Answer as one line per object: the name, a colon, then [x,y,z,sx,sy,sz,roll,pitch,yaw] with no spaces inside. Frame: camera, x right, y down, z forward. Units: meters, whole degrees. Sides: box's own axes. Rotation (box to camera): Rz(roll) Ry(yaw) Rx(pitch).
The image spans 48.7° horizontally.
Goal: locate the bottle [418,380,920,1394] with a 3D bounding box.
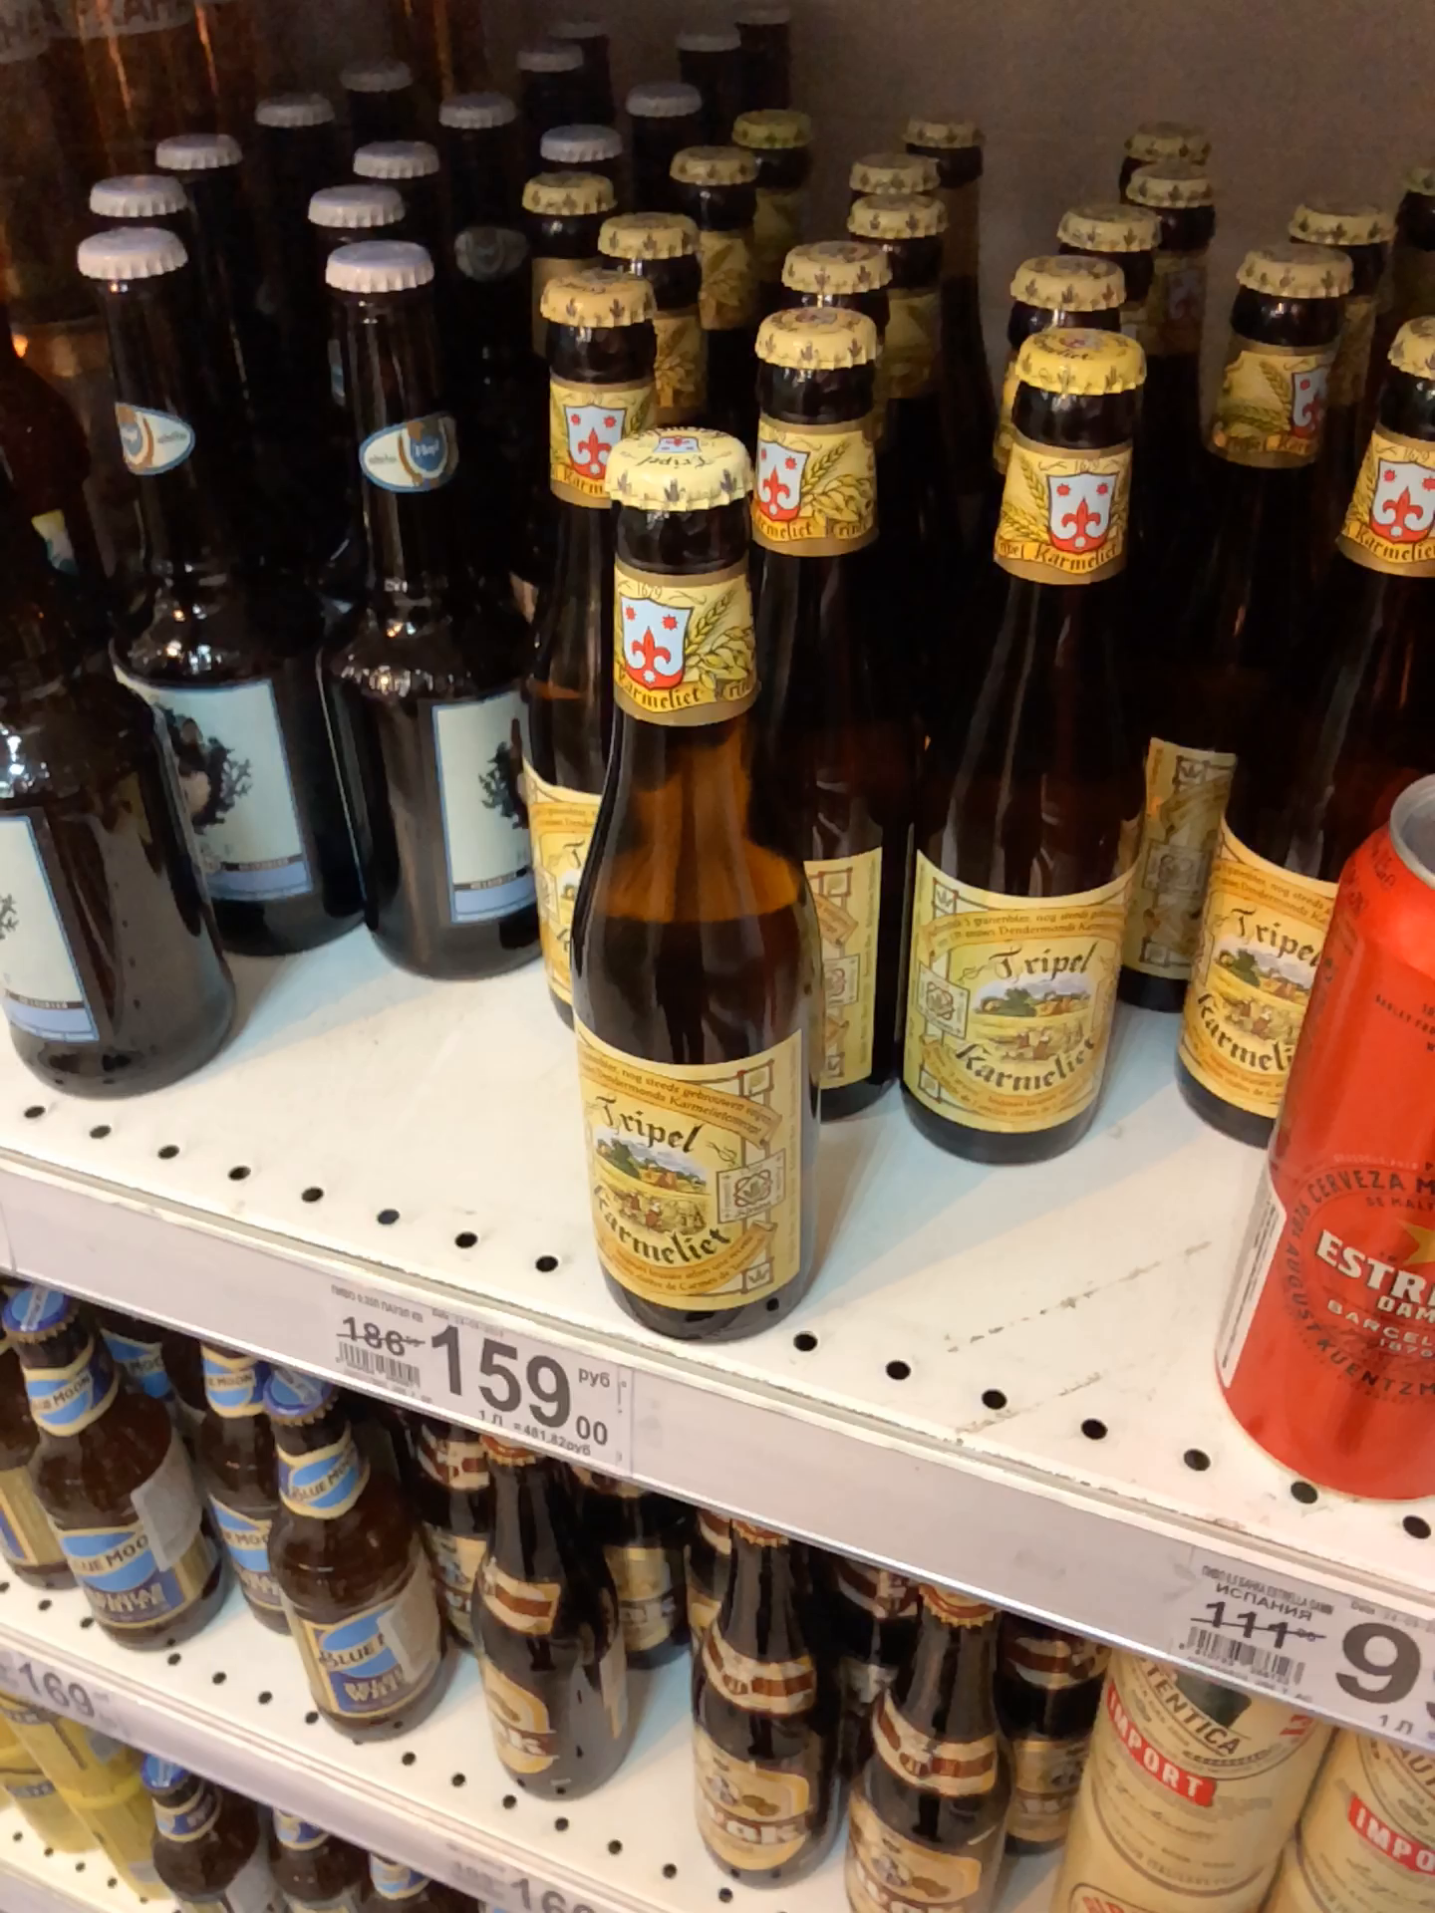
bottle: [-0.005,-0.006,0.363,0.070,0.219,0.070,-1,38,1]
